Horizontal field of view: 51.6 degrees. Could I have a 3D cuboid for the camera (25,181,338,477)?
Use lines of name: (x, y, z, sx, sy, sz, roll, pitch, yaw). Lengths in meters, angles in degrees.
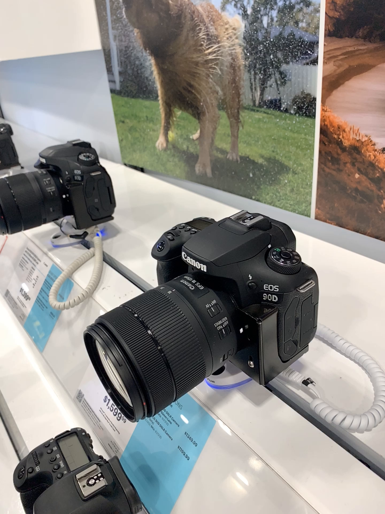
camera: (-0.007, 0.030, 0.309, 0.170, 0.104, 0.149, -25, 34, -29)
